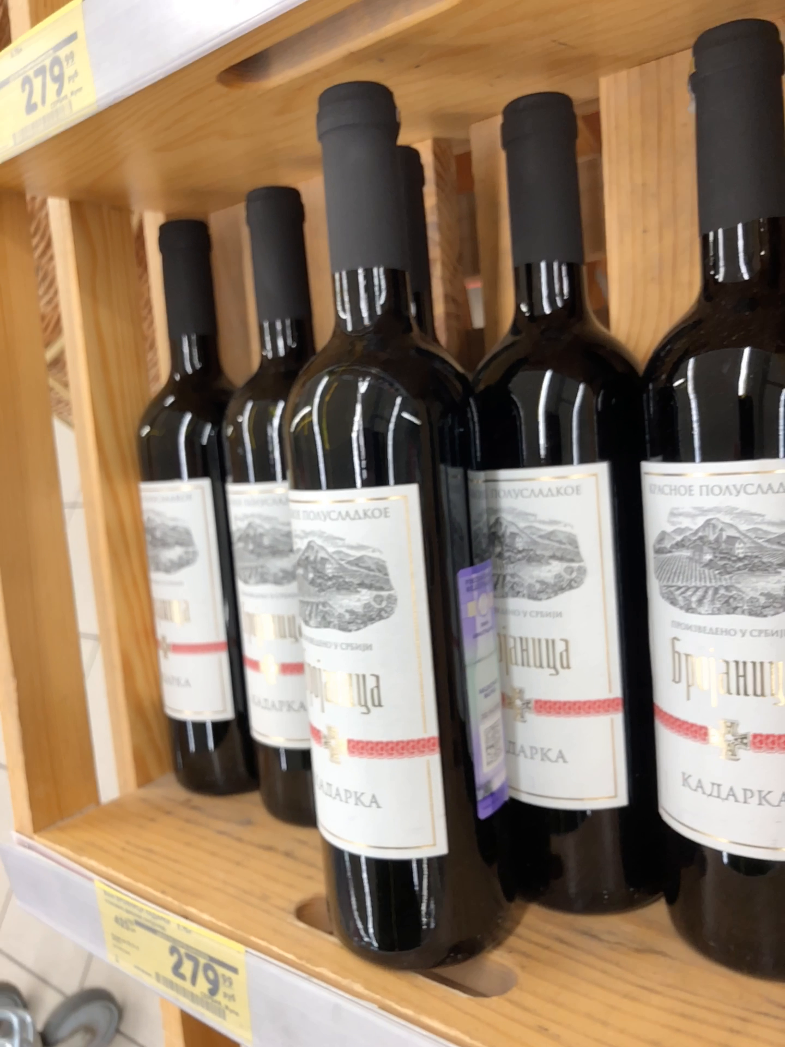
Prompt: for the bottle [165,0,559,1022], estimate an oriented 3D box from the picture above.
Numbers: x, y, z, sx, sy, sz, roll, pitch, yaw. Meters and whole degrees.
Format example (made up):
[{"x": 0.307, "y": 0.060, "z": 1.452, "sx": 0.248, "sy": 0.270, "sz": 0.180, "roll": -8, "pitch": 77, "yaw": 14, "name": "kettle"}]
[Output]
[{"x": -0.006, "y": -0.004, "z": 0.313, "sx": 0.080, "sy": 0.080, "sz": 0.309, "roll": 1, "pitch": 99, "yaw": 41, "name": "bottle"}]
